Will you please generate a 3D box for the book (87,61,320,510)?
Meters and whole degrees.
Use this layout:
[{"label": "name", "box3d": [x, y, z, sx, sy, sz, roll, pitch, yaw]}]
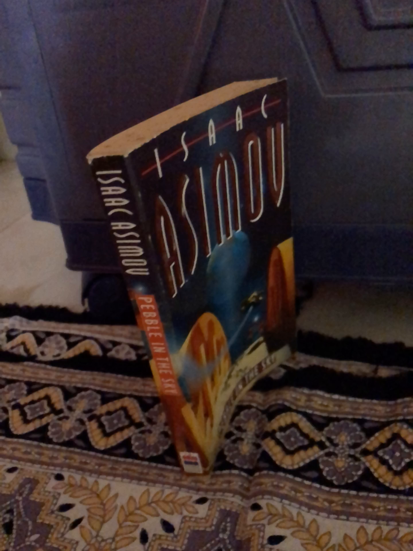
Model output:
[{"label": "book", "box3d": [0.022, -0.001, 0.253, 0.030, 0.189, 0.150, 10, 35, 30]}]
